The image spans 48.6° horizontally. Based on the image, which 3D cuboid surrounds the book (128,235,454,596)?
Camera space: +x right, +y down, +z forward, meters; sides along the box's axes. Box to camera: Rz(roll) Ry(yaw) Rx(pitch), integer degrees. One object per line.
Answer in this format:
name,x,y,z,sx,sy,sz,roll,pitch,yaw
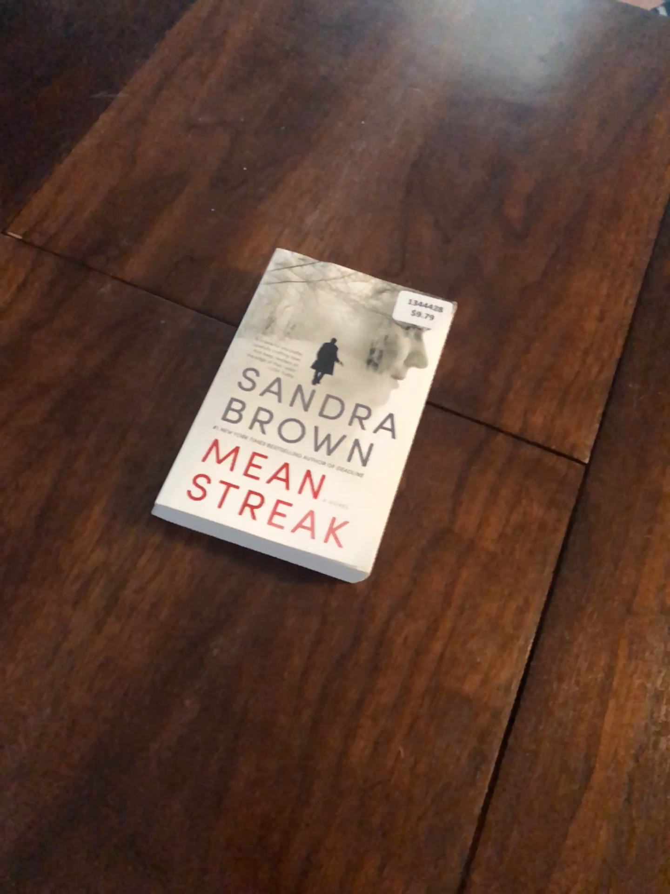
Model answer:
book,-0.020,-0.029,0.471,0.137,0.030,0.207,18,65,6
